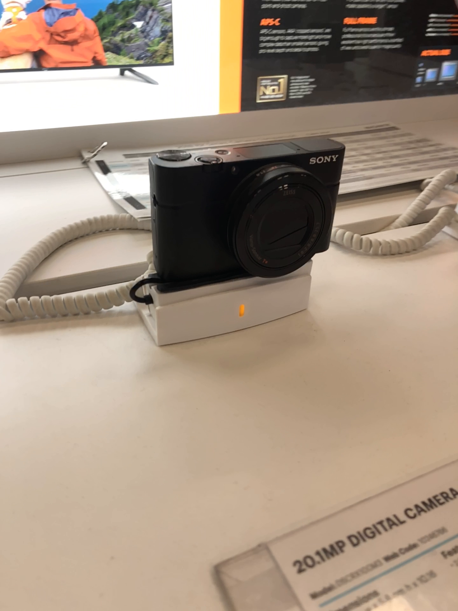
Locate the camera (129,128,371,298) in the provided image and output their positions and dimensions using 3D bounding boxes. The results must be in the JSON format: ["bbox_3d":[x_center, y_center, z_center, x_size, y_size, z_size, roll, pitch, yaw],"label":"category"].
[{"bbox_3d":[0.011,-0.051,0.260,0.110,0.060,0.040,-14,34,-23],"label":"camera"}]
